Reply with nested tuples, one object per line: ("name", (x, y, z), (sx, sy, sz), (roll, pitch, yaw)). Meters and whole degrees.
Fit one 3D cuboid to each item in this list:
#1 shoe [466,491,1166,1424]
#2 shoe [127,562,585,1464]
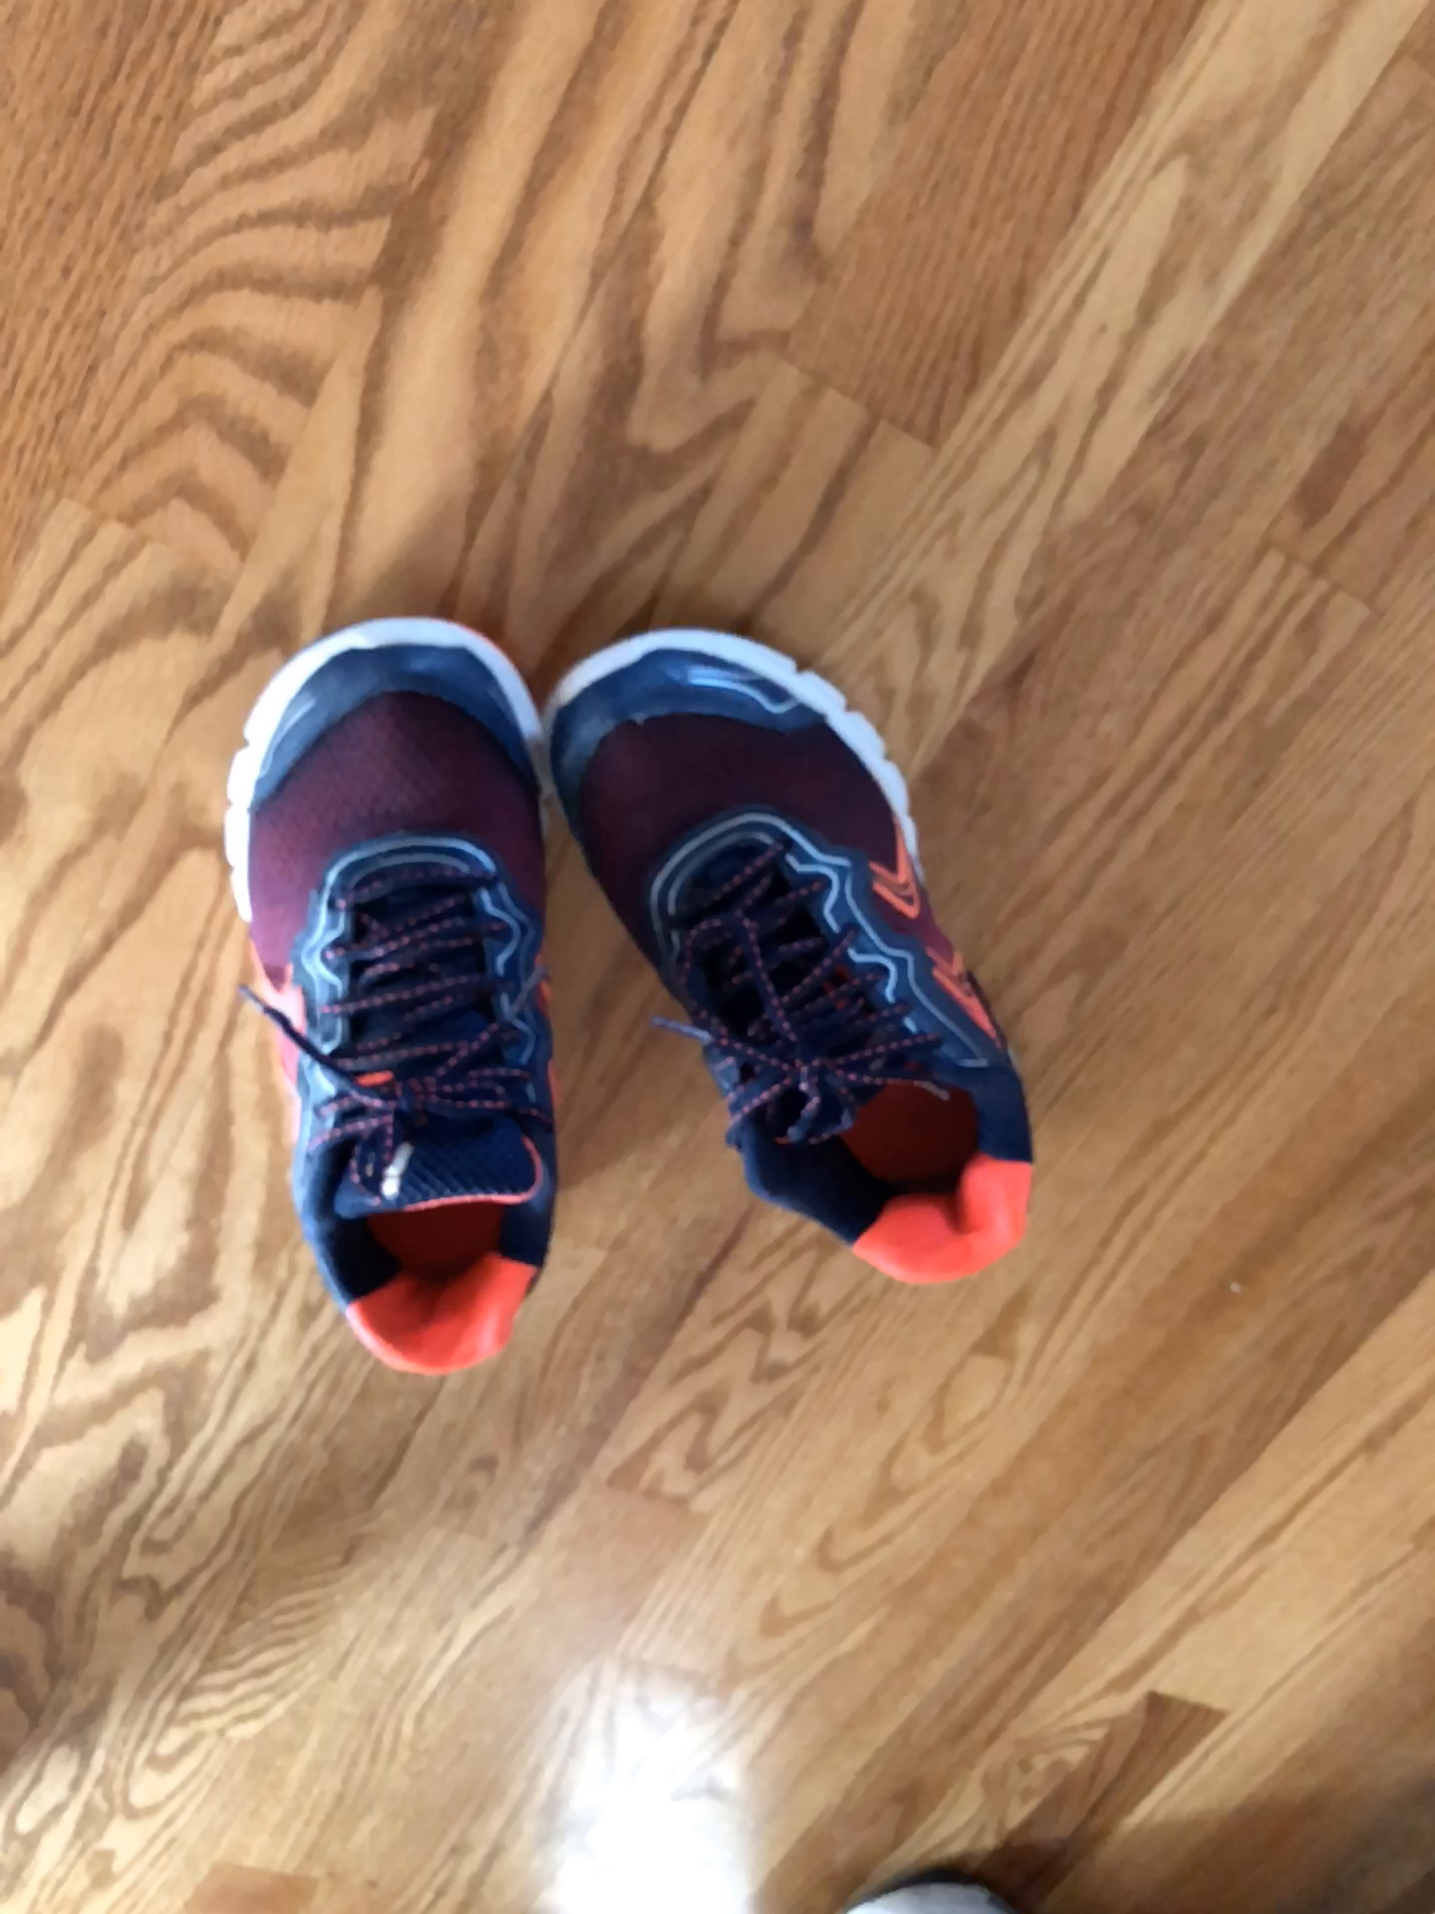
("shoe", (0.037, 0.009, 0.536), (0.116, 0.109, 0.278), (-26, 120, 6))
("shoe", (-0.104, 0.022, 0.519), (0.108, 0.109, 0.270), (-3, 120, -8))
